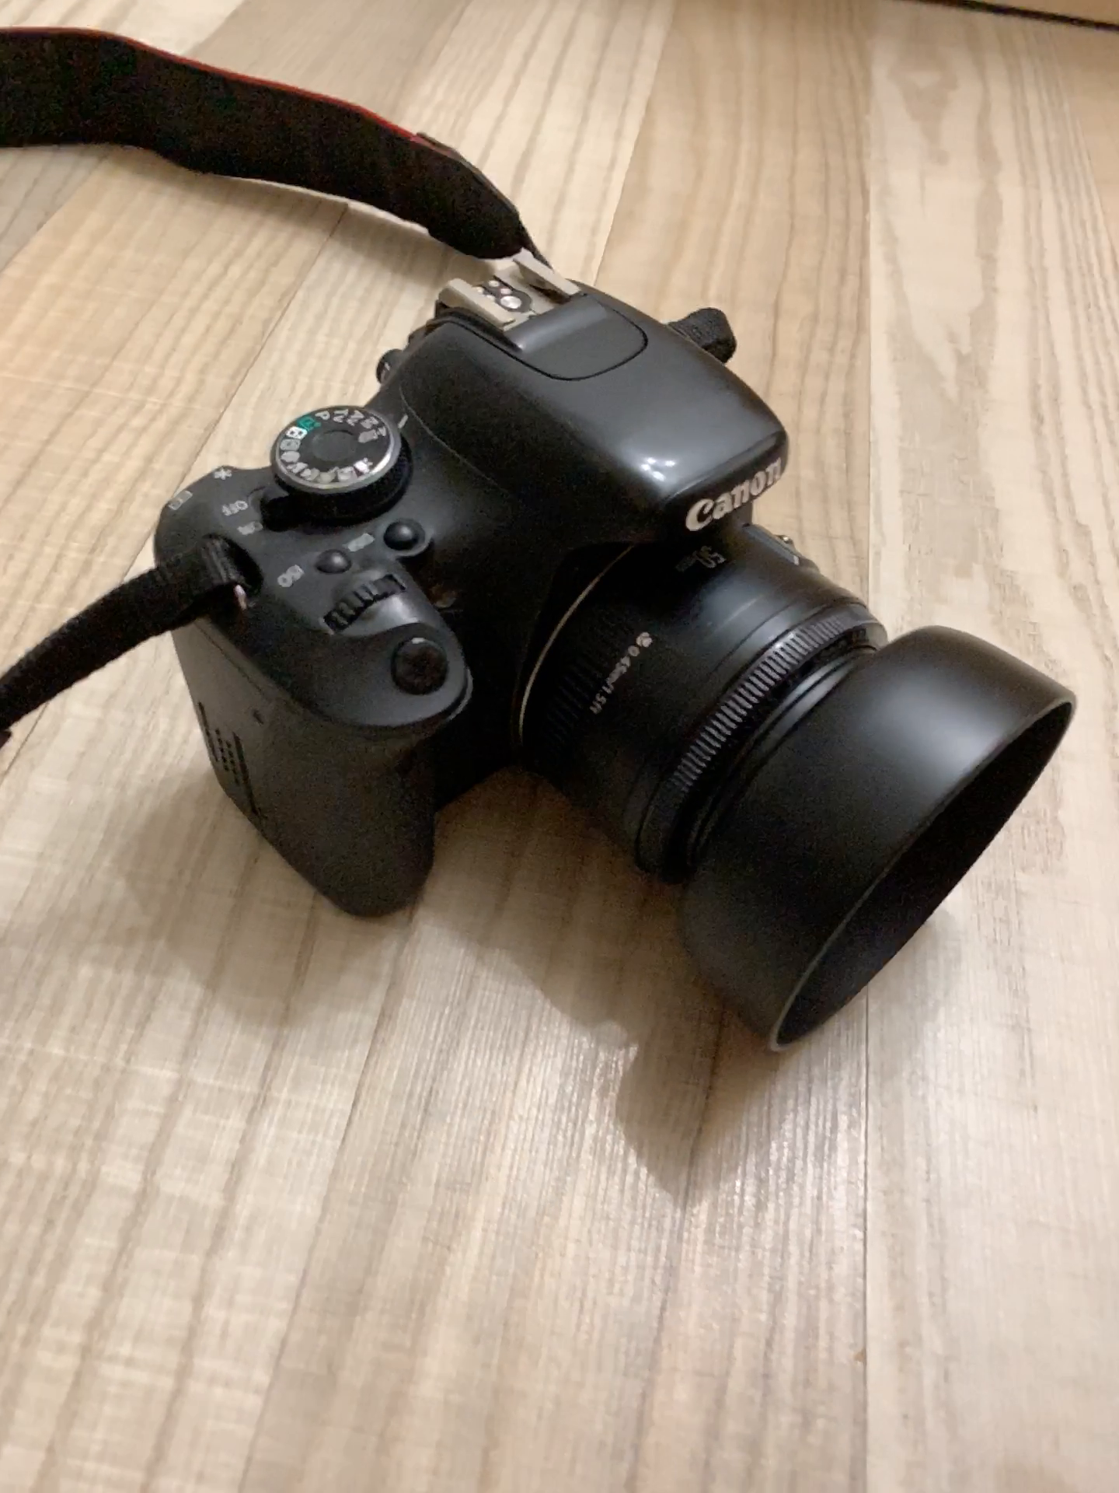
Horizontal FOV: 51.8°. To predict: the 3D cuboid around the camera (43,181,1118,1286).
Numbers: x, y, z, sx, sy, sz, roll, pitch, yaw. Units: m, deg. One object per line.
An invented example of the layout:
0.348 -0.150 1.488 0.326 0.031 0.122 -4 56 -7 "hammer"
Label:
0.013 -0.017 0.225 0.139 0.089 0.150 -33 62 -28 "camera"
